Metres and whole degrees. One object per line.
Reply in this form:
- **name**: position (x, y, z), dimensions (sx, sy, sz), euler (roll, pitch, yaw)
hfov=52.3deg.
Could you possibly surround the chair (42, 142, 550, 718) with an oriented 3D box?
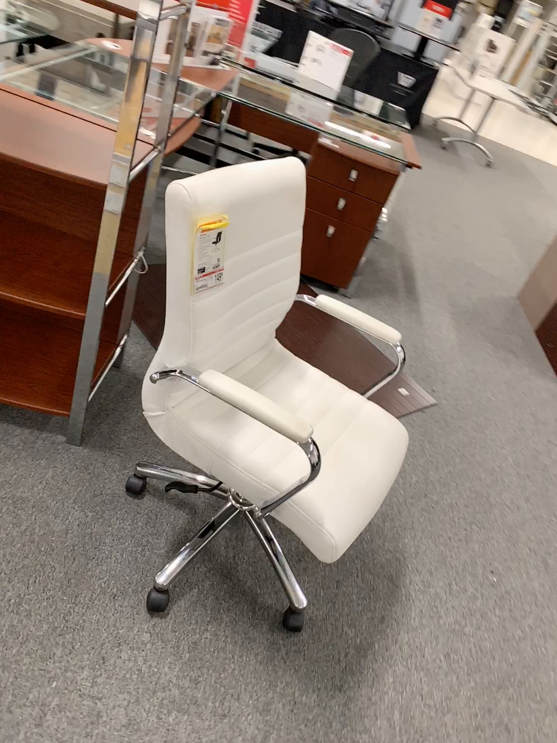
- **chair**: position (-0.007, 0.095, 1.283), dimensions (0.681, 0.905, 0.623), euler (33, 36, 15)
